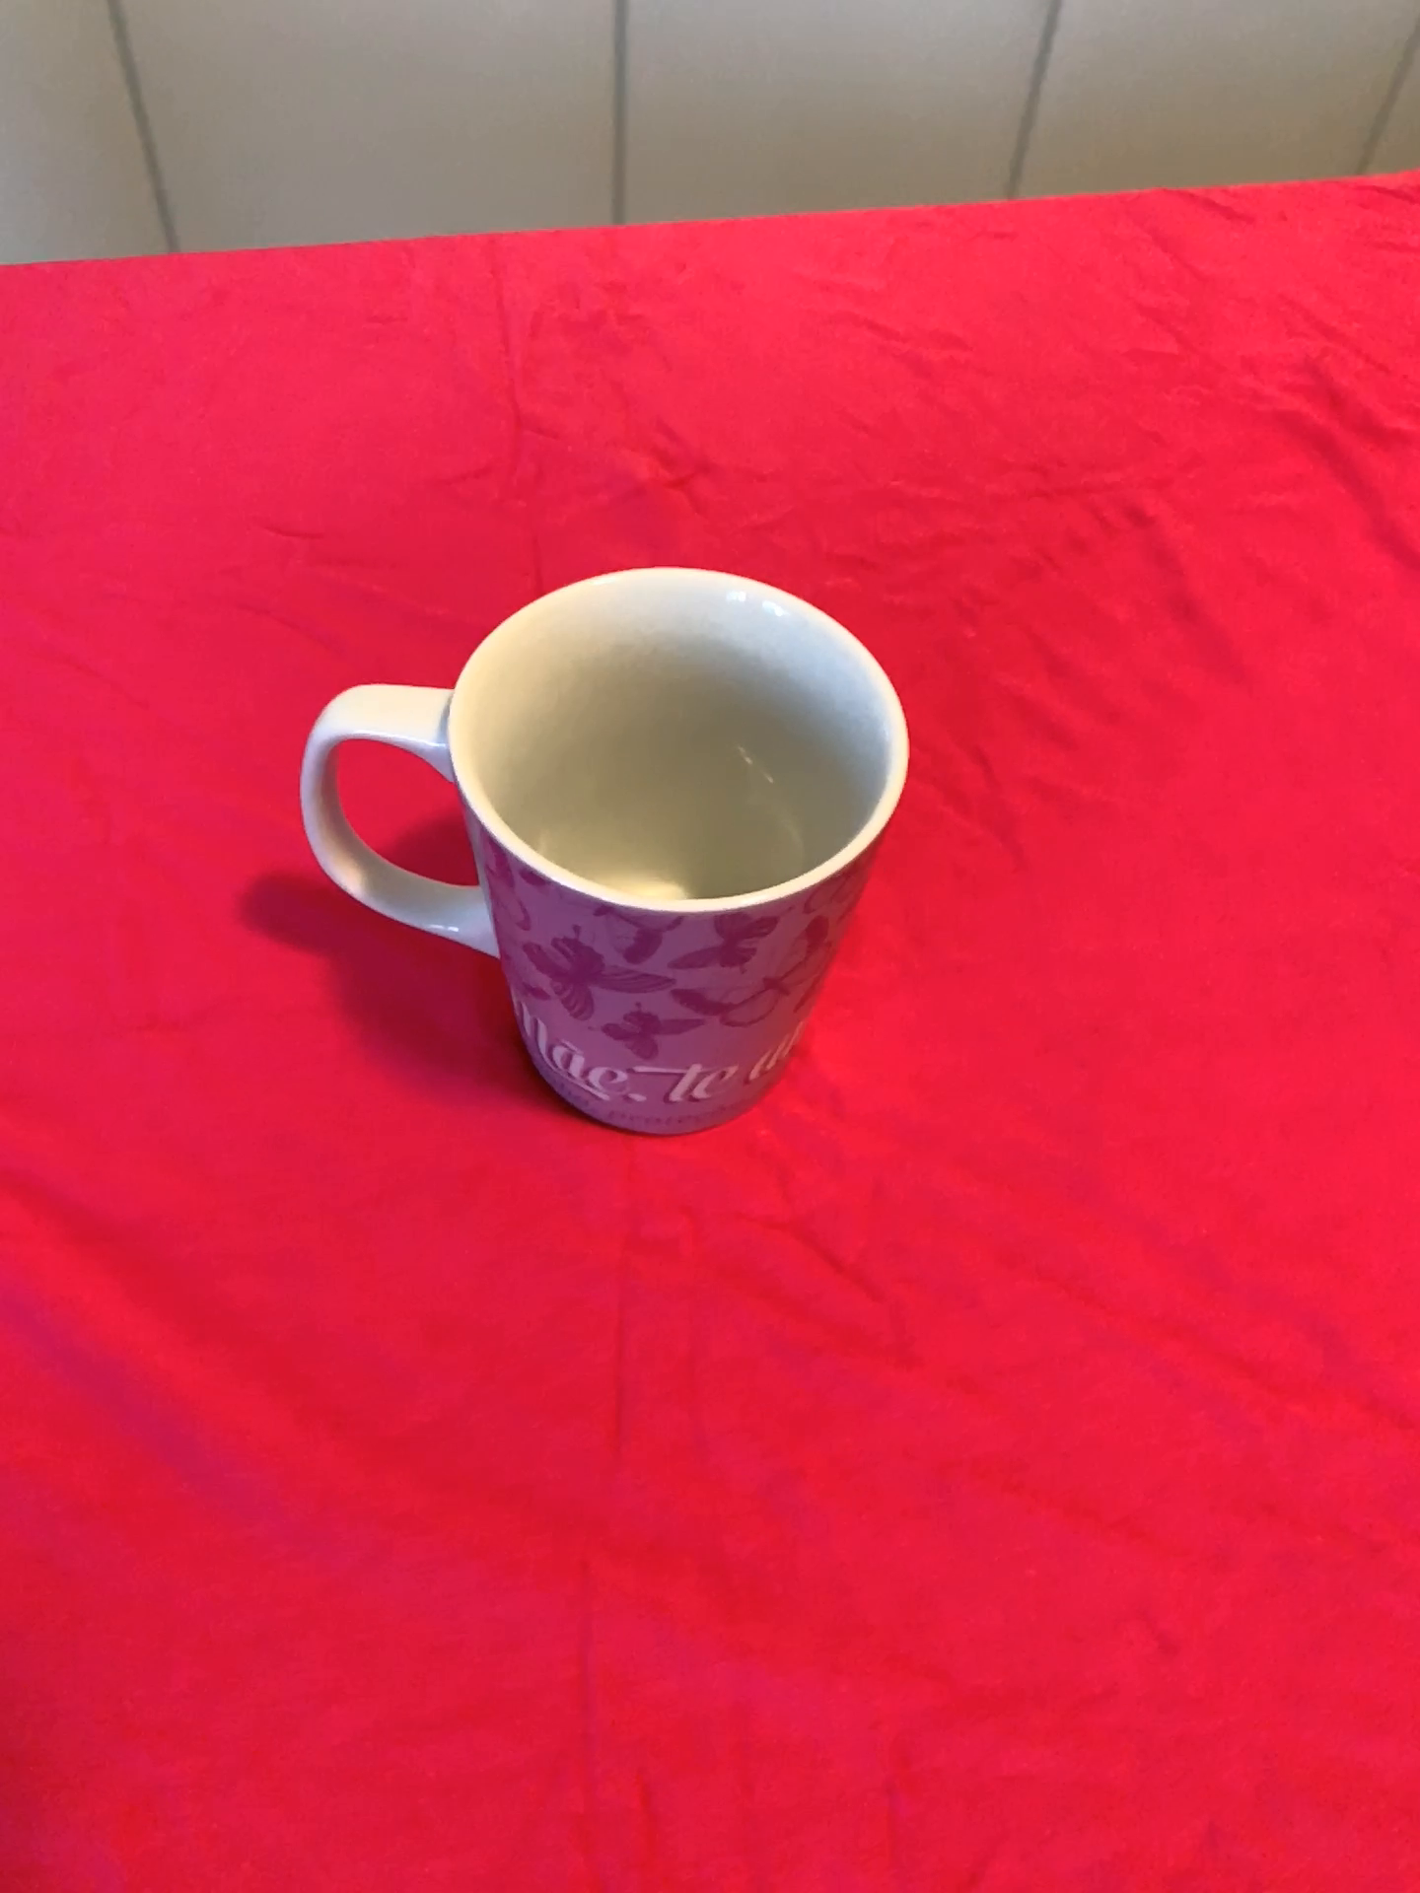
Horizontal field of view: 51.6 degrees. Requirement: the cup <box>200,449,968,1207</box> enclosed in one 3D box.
[{"bbox_3d":[-0.020,-0.019,0.285,0.110,0.100,0.080,13,55,3],"label":"cup"}]
